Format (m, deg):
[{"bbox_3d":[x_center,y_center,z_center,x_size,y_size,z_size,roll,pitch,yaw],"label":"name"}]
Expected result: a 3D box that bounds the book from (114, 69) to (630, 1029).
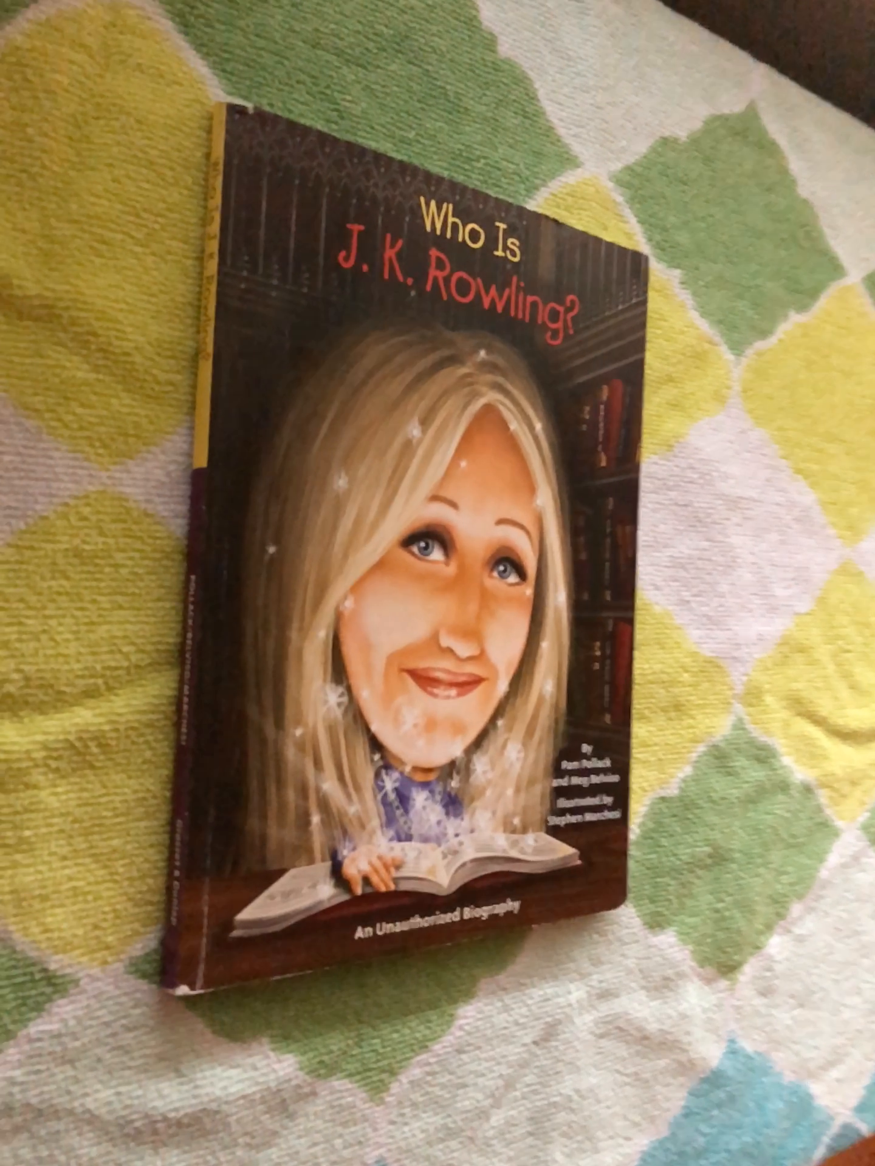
[{"bbox_3d":[-0.006,-0.005,0.229,0.126,0.012,0.187,5,86,-36],"label":"book"}]
